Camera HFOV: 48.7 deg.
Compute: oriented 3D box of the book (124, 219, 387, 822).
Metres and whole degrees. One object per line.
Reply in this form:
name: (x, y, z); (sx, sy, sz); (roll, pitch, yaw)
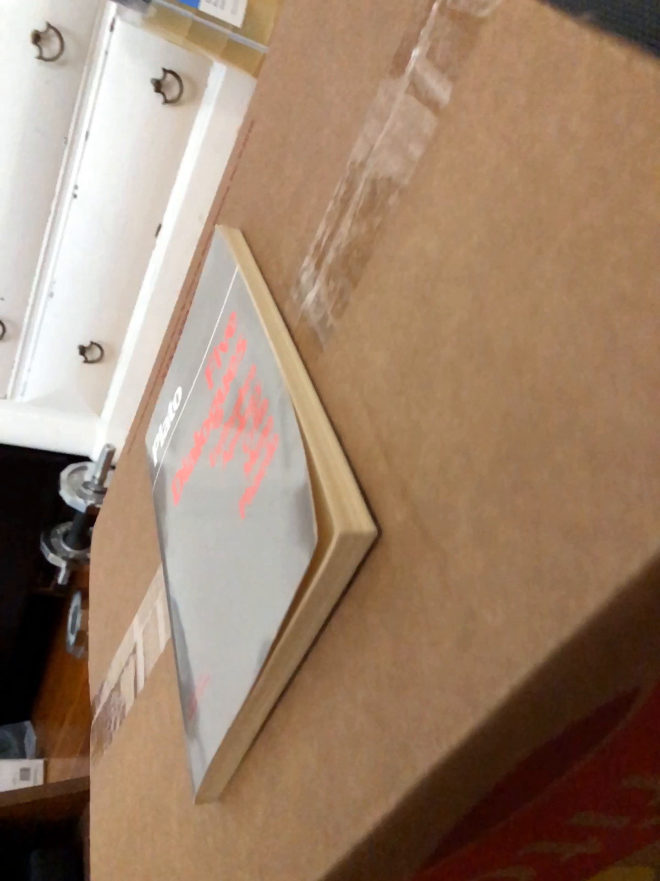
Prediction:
book: (-0.052, 0.015, 0.310); (0.140, 0.020, 0.221); (-64, 31, 28)
